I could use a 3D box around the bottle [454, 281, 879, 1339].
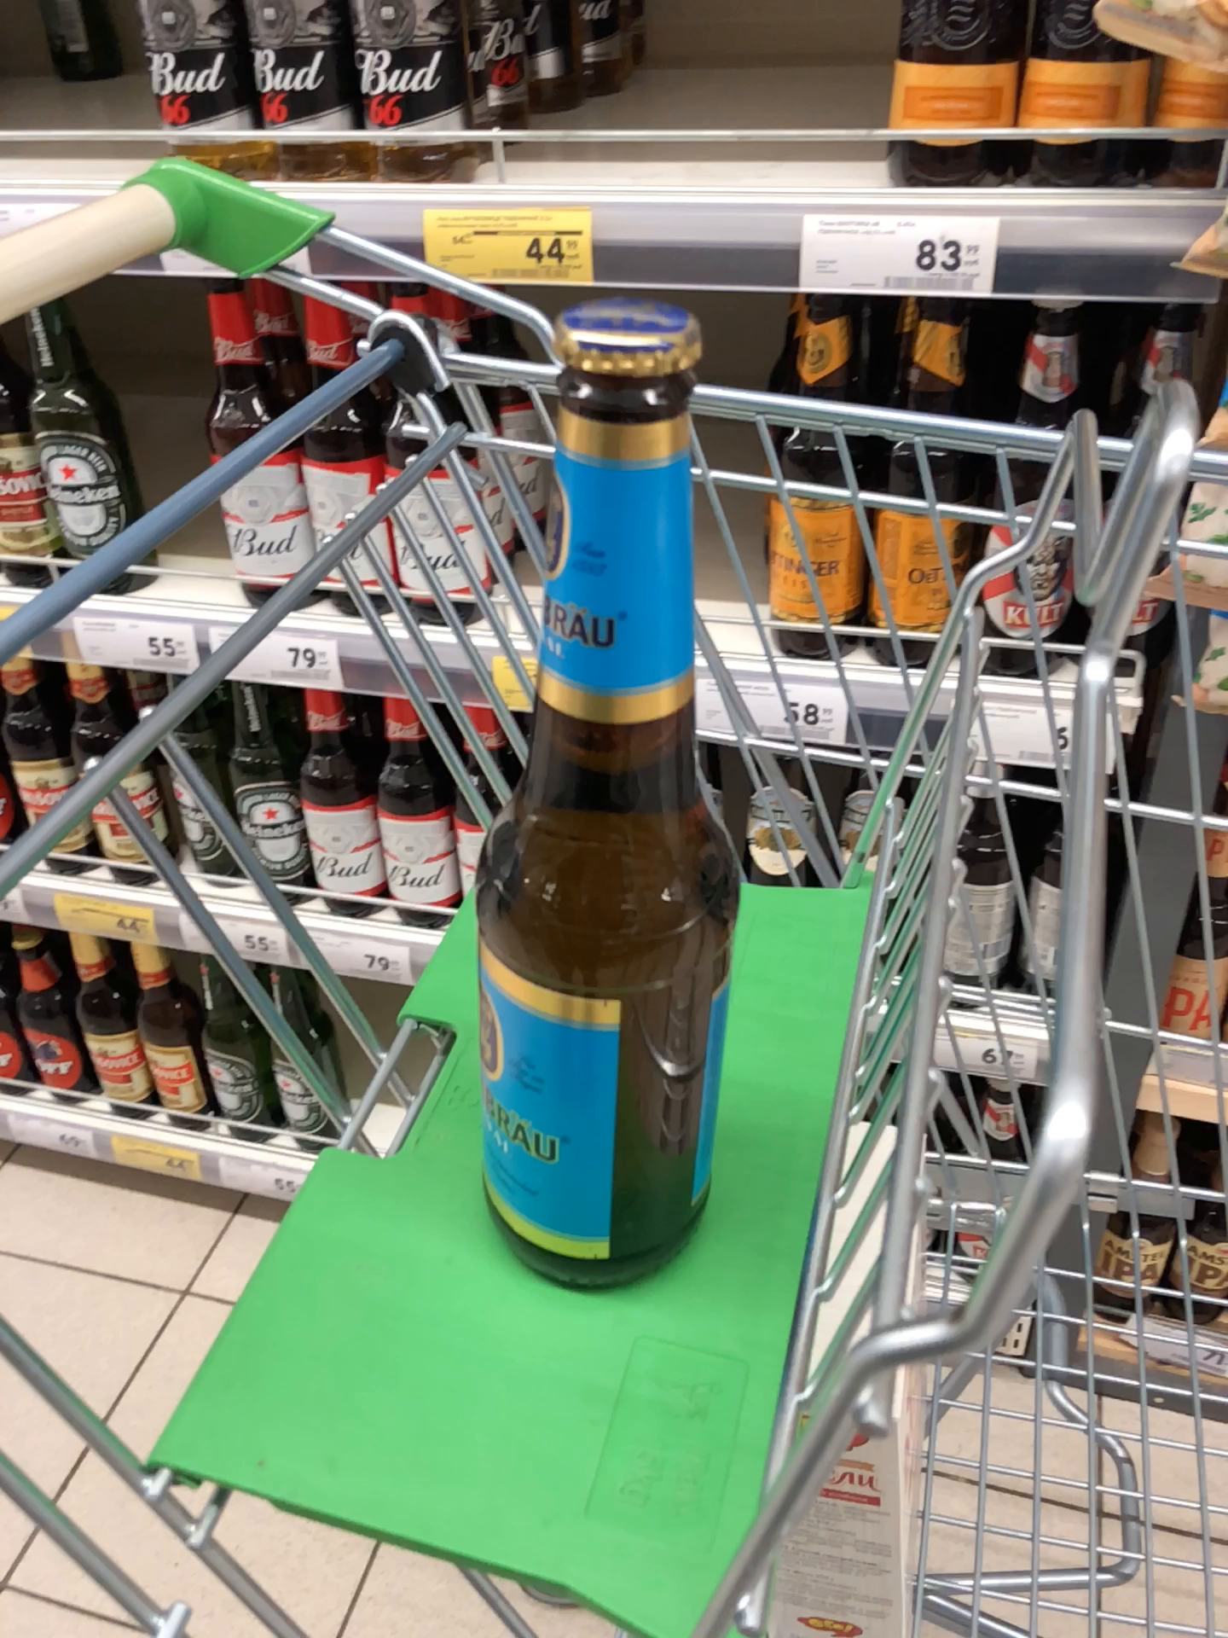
[{"bbox_3d":[0.002,0.011,0.324,0.070,0.249,0.080,-2,34,-6],"label":"bottle"}]
